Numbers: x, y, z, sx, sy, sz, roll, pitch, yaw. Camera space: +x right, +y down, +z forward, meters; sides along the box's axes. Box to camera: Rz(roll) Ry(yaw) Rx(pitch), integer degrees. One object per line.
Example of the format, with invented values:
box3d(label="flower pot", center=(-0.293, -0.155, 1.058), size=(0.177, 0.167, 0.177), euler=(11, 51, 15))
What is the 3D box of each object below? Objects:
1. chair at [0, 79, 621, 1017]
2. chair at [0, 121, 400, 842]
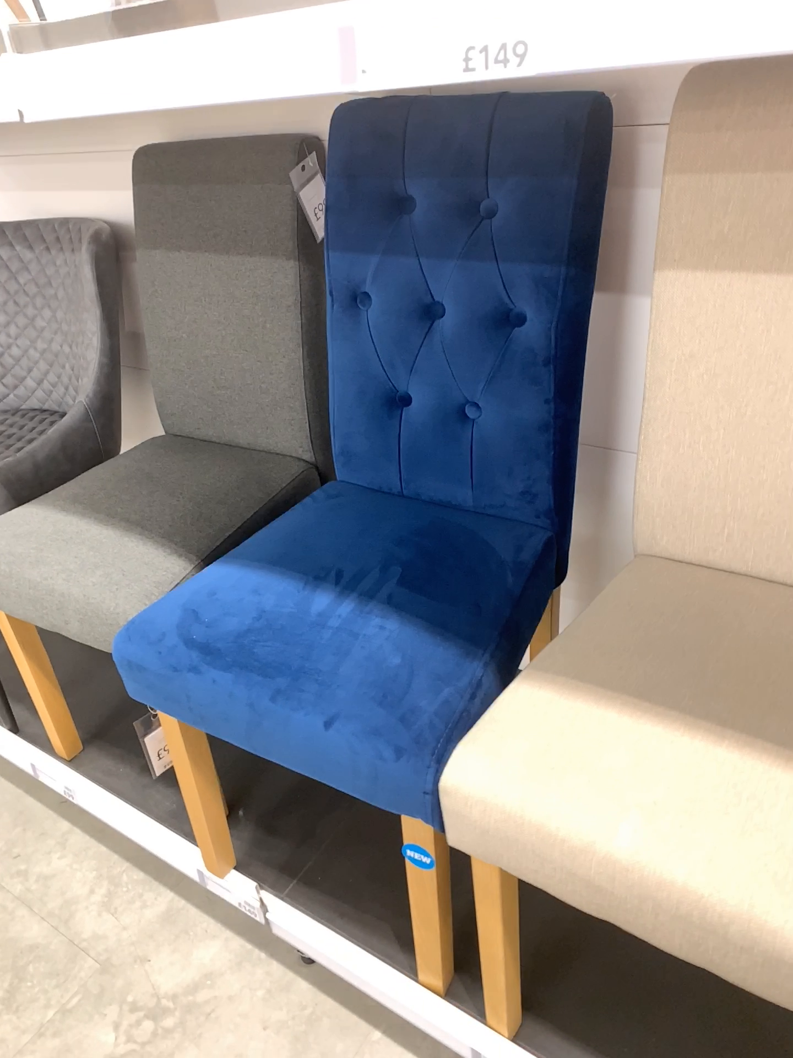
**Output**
box3d(label="chair", center=(-0.044, 0.013, 1.003), size=(0.434, 0.929, 0.522), euler=(14, 38, 30))
box3d(label="chair", center=(-0.364, -0.105, 1.295), size=(0.414, 0.890, 0.623), euler=(12, 36, 27))
